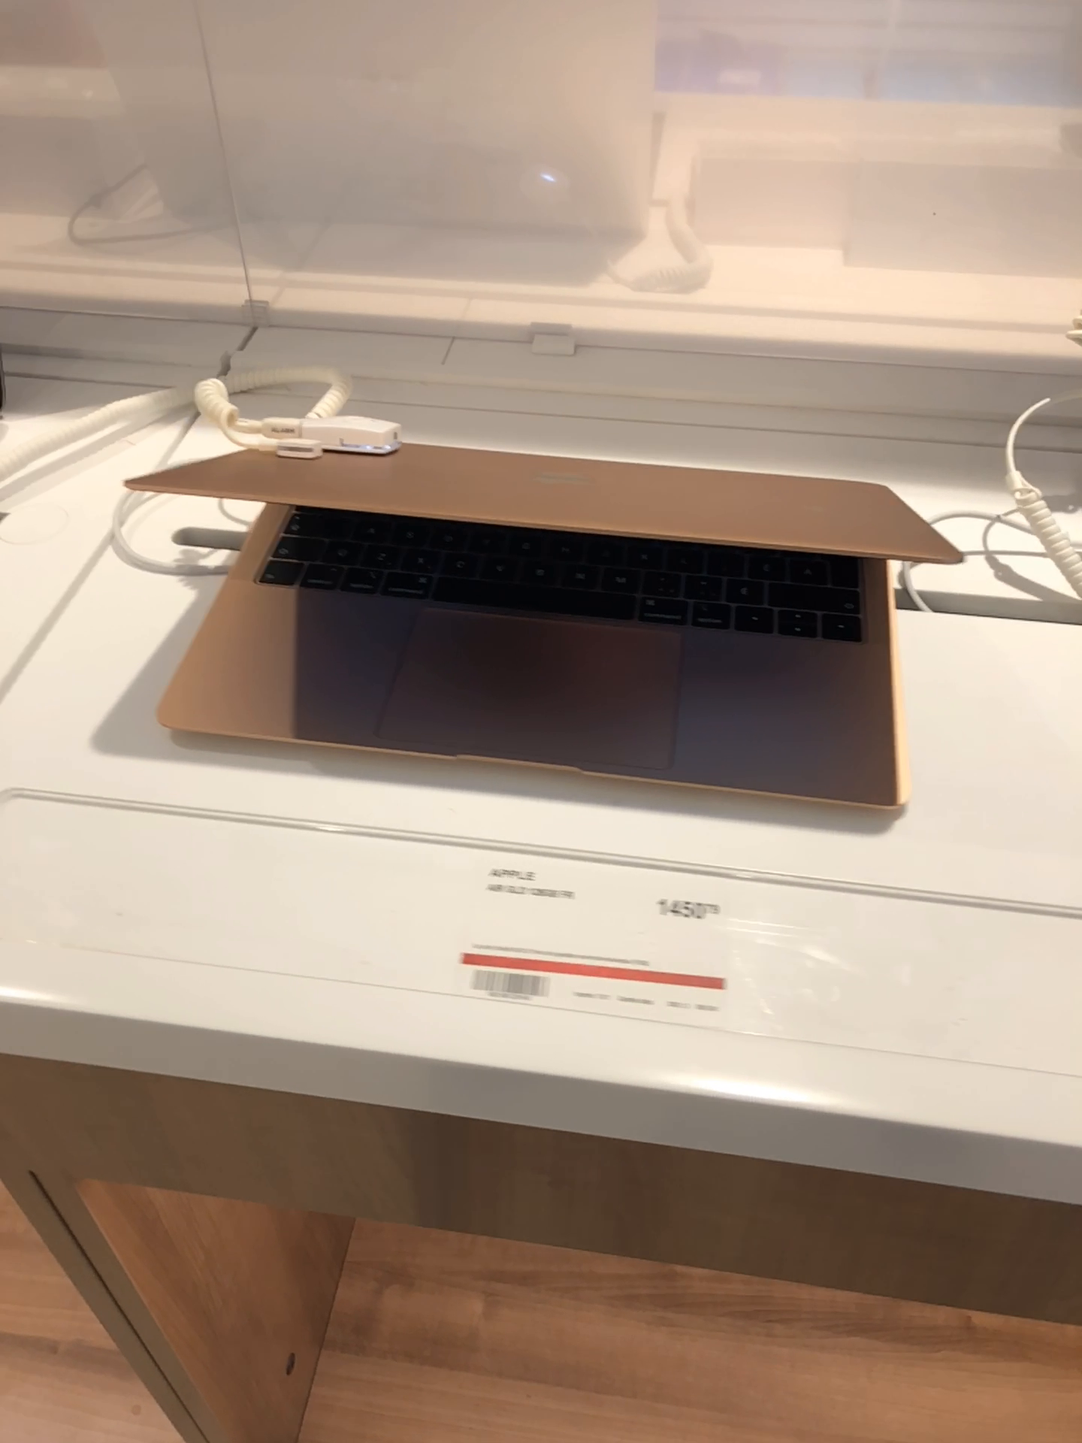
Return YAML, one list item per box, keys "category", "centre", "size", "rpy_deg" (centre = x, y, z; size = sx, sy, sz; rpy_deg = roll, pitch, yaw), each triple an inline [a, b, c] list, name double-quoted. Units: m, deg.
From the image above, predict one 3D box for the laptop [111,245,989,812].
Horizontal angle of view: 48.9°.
- category: "laptop"
  centre: [0.006, -0.101, 0.512]
  size: [0.298, 0.104, 0.226]
  rpy_deg: [7, 43, 9]
